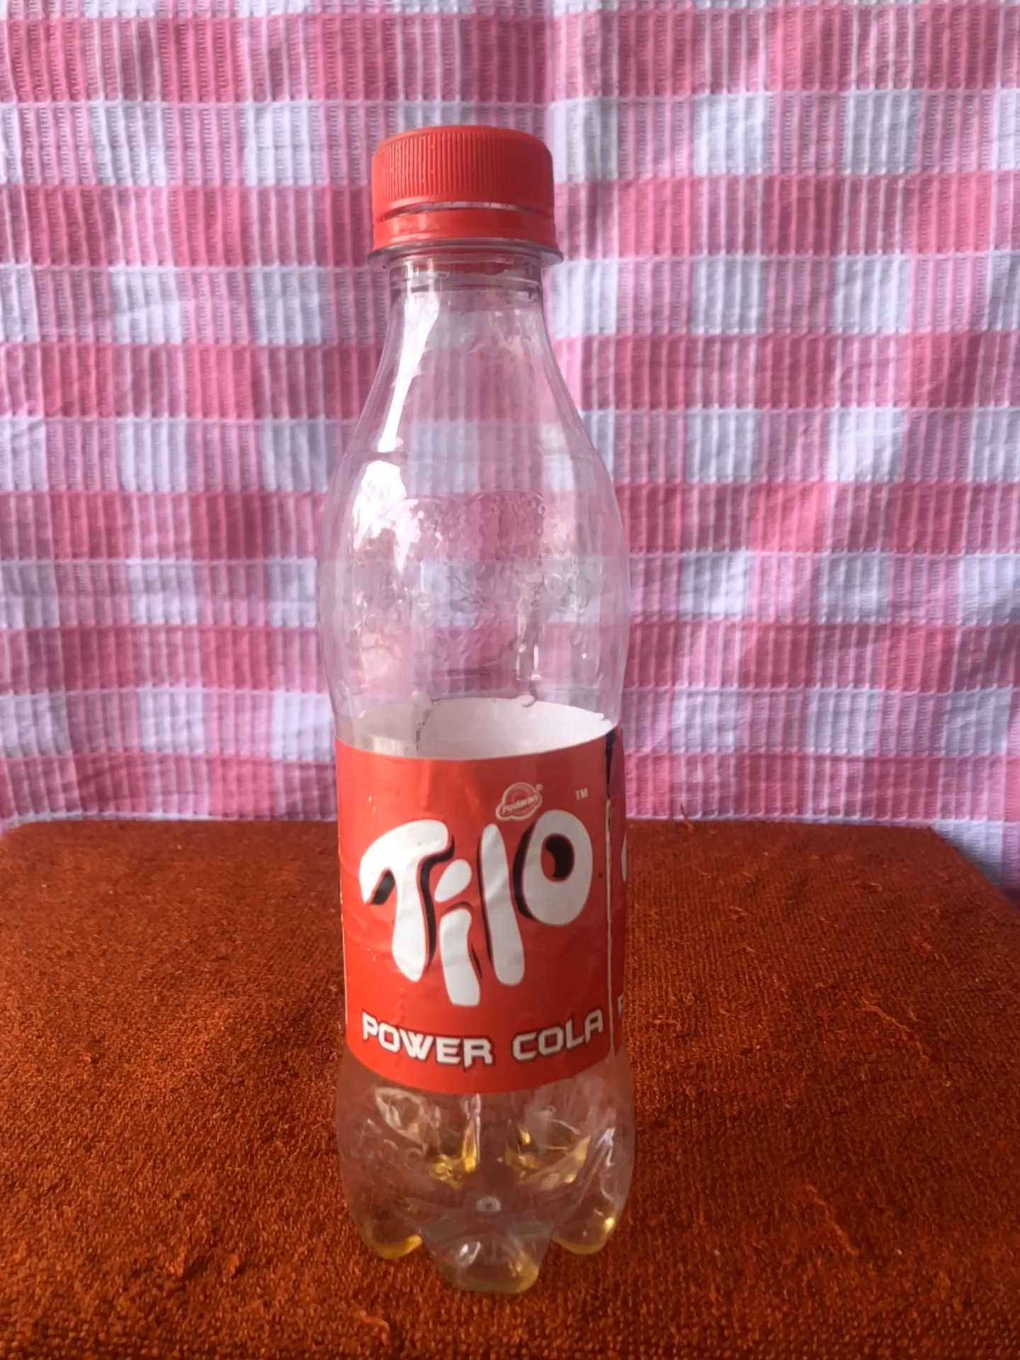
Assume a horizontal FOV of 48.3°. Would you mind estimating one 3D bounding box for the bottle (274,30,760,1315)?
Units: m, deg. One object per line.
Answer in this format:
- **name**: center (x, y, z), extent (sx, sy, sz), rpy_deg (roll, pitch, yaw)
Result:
- **bottle**: center (-0.002, 0.005, 0.193), extent (0.060, 0.189, 0.060), rpy_deg (1, 15, 0)
